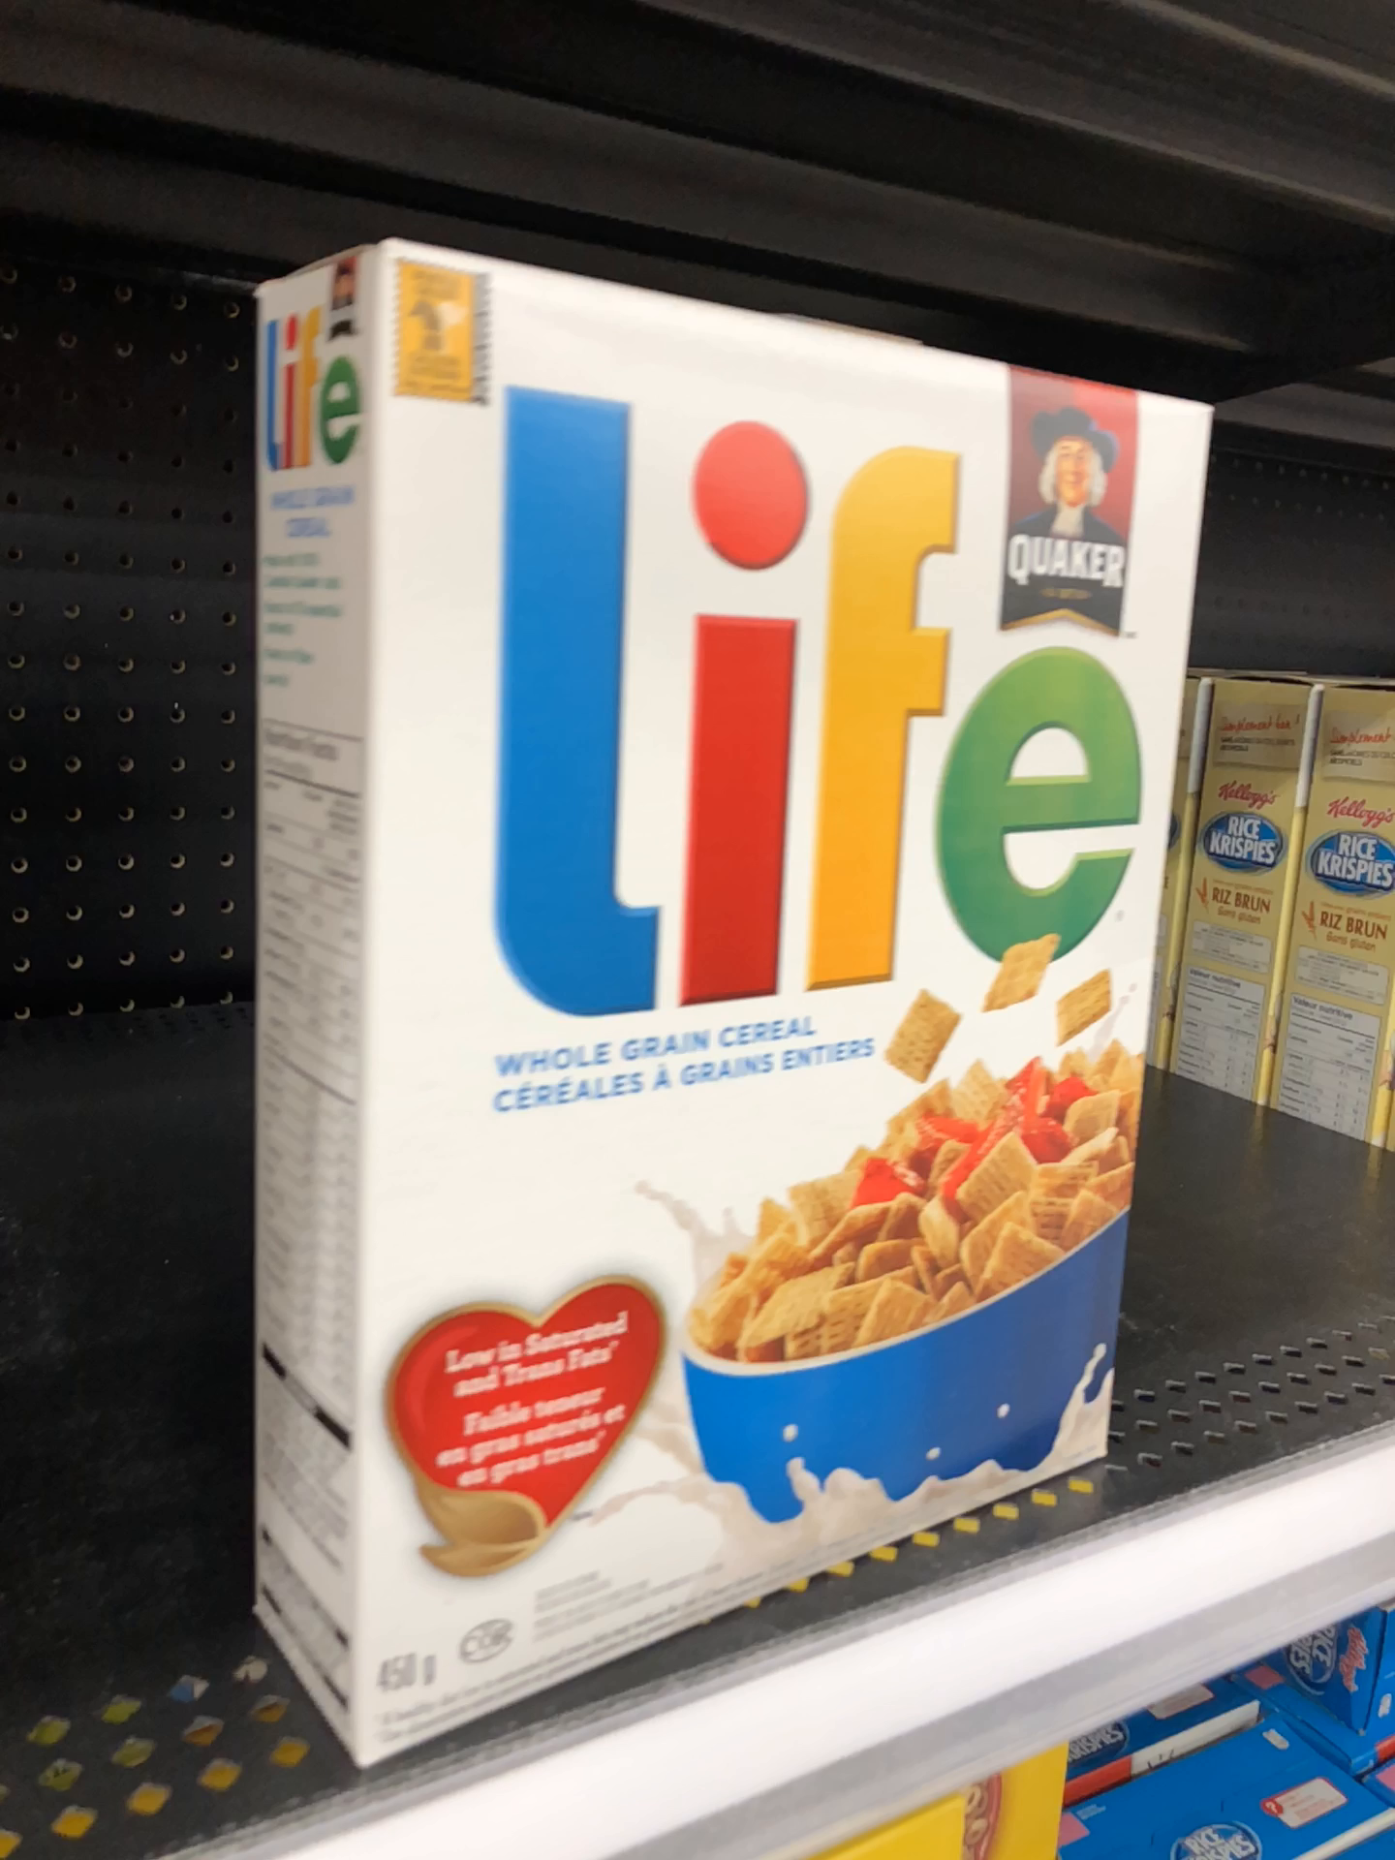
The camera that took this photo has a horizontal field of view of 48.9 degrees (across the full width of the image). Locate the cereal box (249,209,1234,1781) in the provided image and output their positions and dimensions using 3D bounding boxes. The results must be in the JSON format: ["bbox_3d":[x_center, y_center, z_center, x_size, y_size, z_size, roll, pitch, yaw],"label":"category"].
[{"bbox_3d":[0.013,0.009,0.329,0.200,0.259,0.060,-5,13,-36],"label":"cereal box"}]
